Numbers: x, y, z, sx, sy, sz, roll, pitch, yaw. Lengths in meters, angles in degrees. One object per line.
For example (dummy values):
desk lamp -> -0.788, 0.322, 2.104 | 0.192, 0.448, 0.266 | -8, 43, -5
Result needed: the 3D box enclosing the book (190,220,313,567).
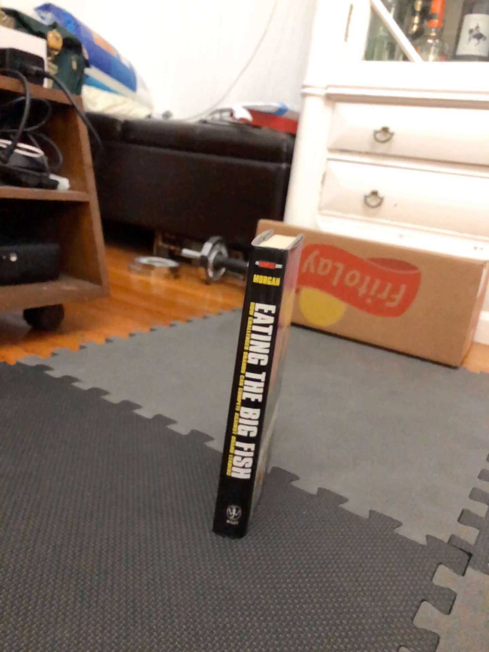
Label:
book -> 0.012, 0.043, 0.492 | 0.050, 0.259, 0.181 | 11, 15, 5
